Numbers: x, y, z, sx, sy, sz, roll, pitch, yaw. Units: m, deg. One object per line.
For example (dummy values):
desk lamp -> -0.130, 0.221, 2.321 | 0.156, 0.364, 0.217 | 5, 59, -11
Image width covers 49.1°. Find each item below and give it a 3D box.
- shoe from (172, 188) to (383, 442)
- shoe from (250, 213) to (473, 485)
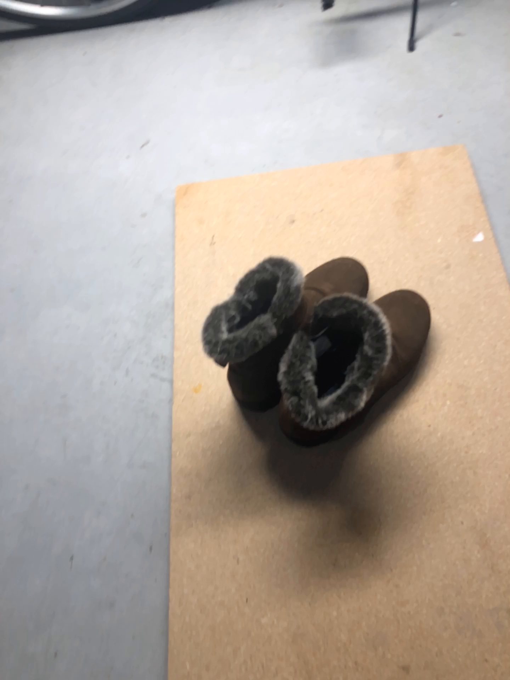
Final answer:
shoe -> 0.043, -0.026, 0.732 | 0.100, 0.200, 0.260 | 36, 72, 24
shoe -> 0.129, 0.021, 0.680 | 0.100, 0.220, 0.250 | 36, 72, 24
